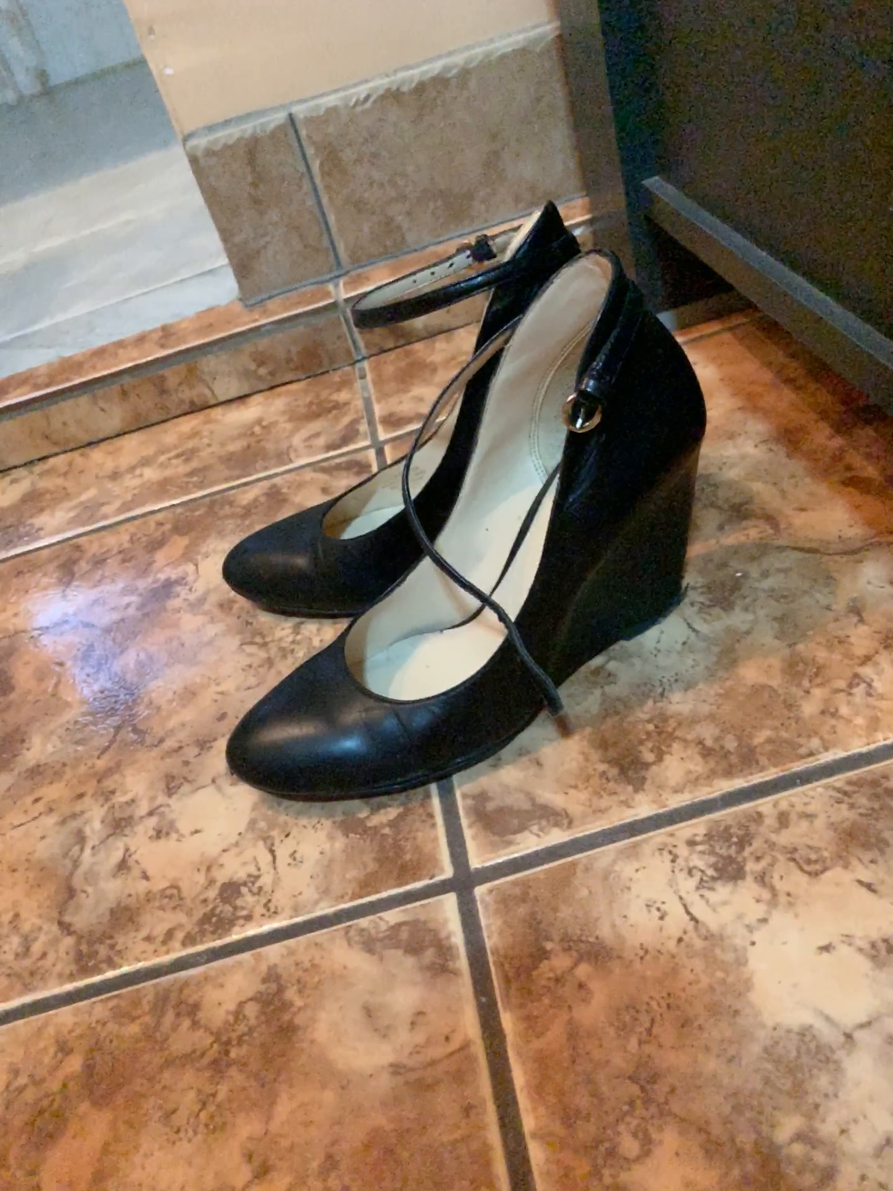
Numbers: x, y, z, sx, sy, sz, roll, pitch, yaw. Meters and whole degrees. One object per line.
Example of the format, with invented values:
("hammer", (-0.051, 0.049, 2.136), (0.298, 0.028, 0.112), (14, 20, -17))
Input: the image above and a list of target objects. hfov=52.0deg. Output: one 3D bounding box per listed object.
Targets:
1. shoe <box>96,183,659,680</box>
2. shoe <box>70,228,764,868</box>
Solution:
("shoe", (-0.021, -0.068, 0.420), (0.200, 0.159, 0.079), (-15, 38, 5))
("shoe", (-0.003, -0.019, 0.337), (0.209, 0.140, 0.087), (-25, 38, -7))
